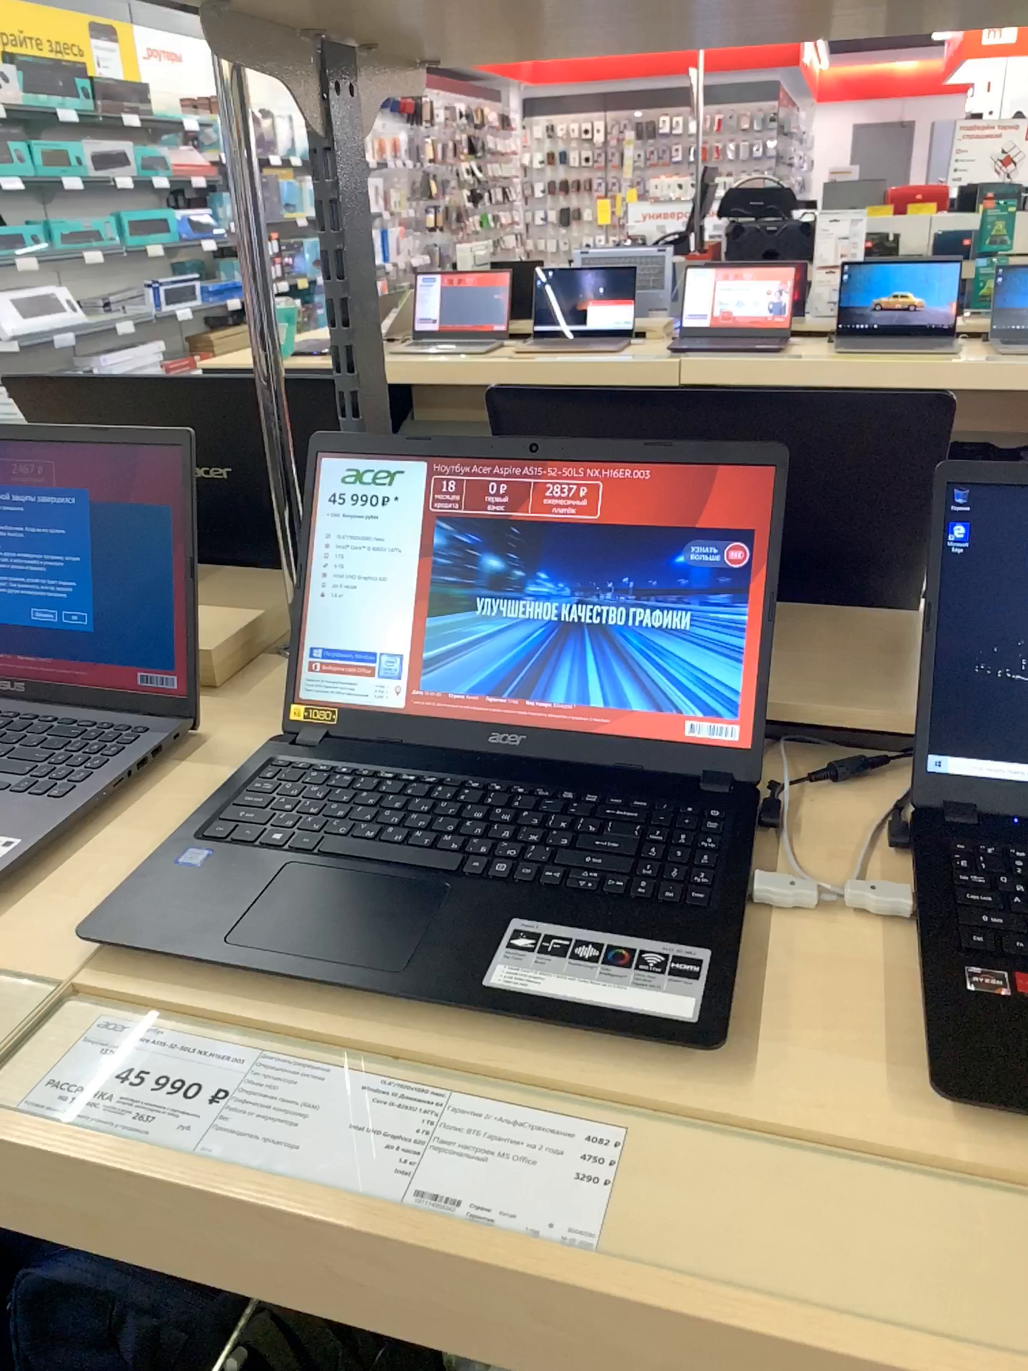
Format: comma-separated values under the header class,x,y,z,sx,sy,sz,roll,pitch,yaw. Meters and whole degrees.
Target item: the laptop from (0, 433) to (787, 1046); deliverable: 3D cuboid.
class,x,y,z,sx,sy,sz,roll,pitch,yaw
laptop,-0.031,-0.014,0.673,0.368,0.208,0.366,5,26,16
